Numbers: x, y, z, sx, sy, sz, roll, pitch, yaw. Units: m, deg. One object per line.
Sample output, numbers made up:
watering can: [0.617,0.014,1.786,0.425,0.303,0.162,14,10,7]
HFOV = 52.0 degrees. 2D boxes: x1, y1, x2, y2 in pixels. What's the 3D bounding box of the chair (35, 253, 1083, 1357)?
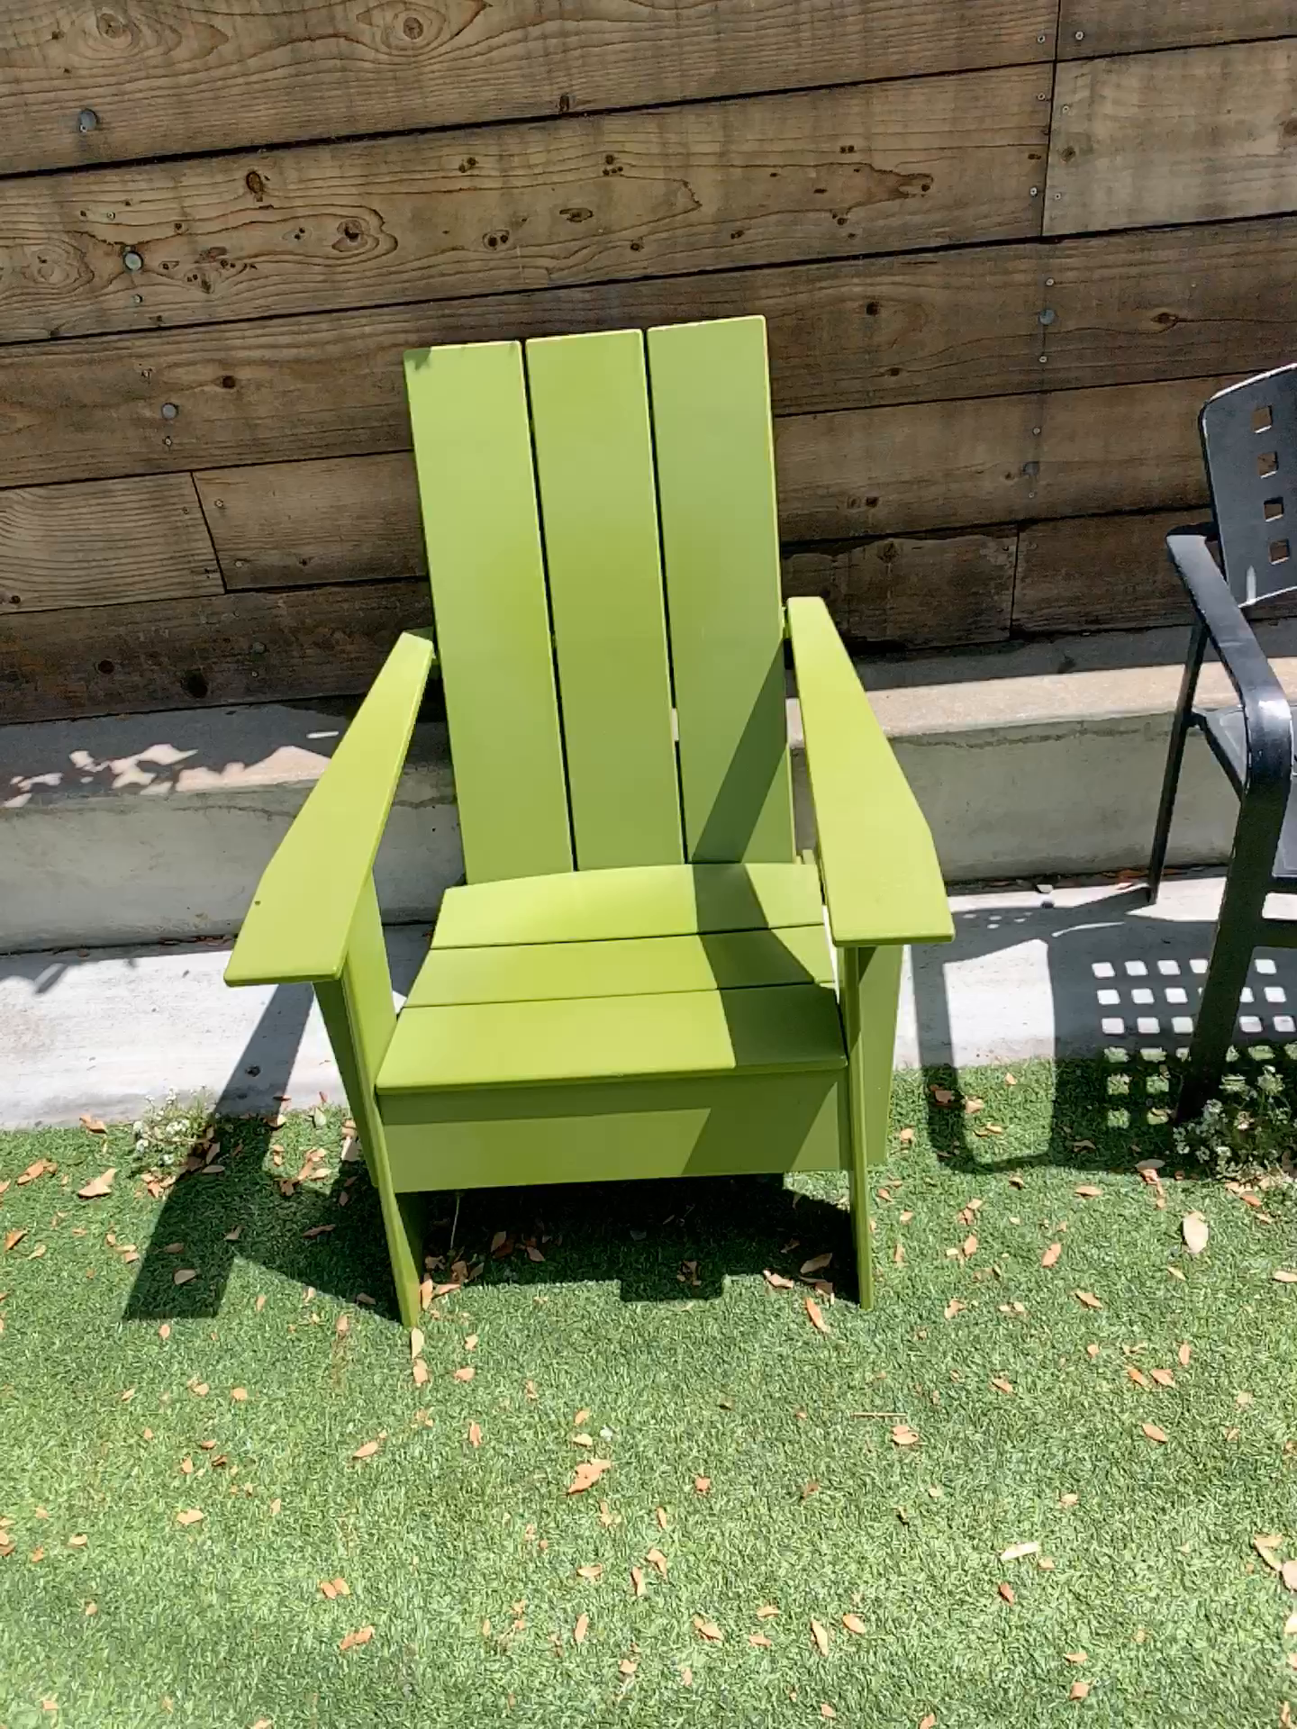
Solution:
chair: [-0.015,-0.084,1.517,0.720,0.845,0.905,-3,40,6]
